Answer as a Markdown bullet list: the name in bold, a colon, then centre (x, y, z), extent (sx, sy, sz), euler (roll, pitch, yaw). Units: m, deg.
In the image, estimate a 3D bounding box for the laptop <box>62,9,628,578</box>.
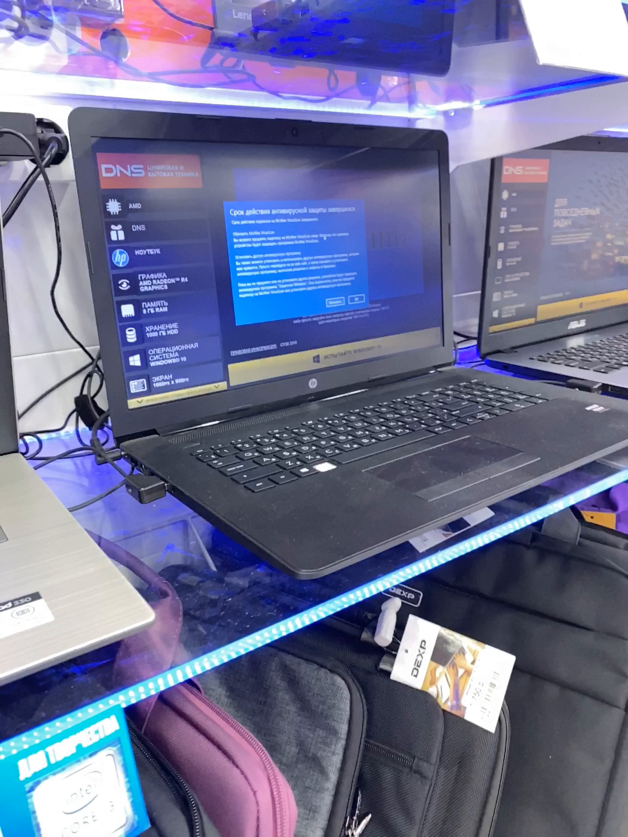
- **laptop**: centre (0.069, -0.116, 0.531), extent (0.419, 0.260, 0.295), euler (-13, 21, -35)
